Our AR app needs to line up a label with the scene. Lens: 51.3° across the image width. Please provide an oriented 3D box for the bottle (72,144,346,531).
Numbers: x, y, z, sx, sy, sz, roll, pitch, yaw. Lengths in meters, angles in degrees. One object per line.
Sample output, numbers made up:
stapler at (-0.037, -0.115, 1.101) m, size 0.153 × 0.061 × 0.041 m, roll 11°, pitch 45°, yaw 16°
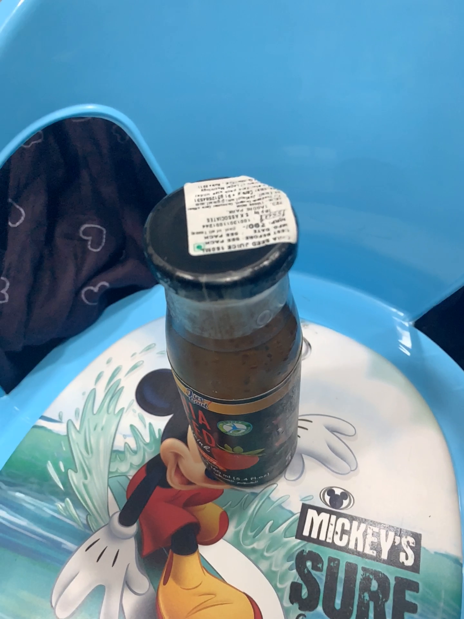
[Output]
bottle at (-0.003, 0.019, 0.171) m, size 0.050 × 0.130 × 0.050 m, roll -2°, pitch 47°, yaw 2°
